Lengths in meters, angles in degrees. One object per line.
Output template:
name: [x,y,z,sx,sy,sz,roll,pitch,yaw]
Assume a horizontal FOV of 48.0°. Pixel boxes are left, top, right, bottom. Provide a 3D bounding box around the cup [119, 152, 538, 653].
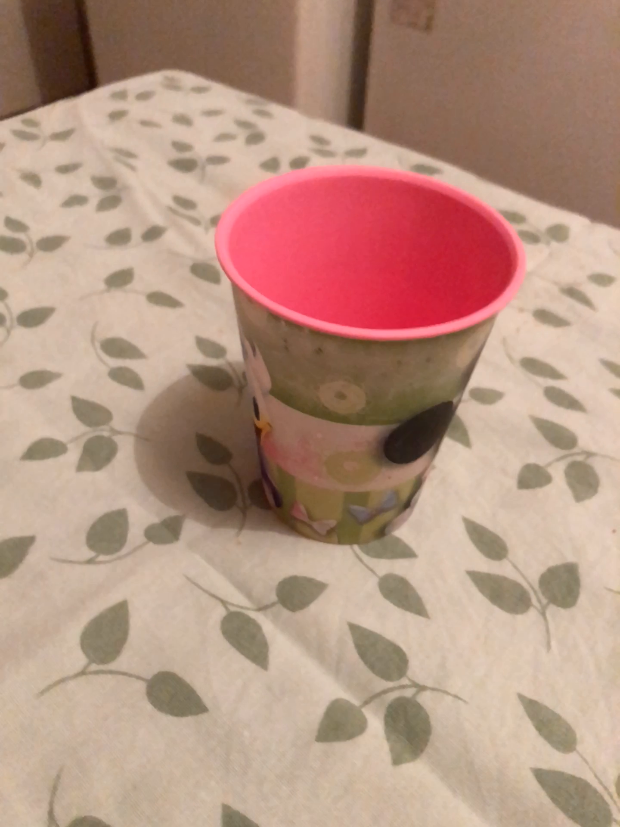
cup: [0.011,-0.003,0.239,0.100,0.119,0.101,2,45,-2]
